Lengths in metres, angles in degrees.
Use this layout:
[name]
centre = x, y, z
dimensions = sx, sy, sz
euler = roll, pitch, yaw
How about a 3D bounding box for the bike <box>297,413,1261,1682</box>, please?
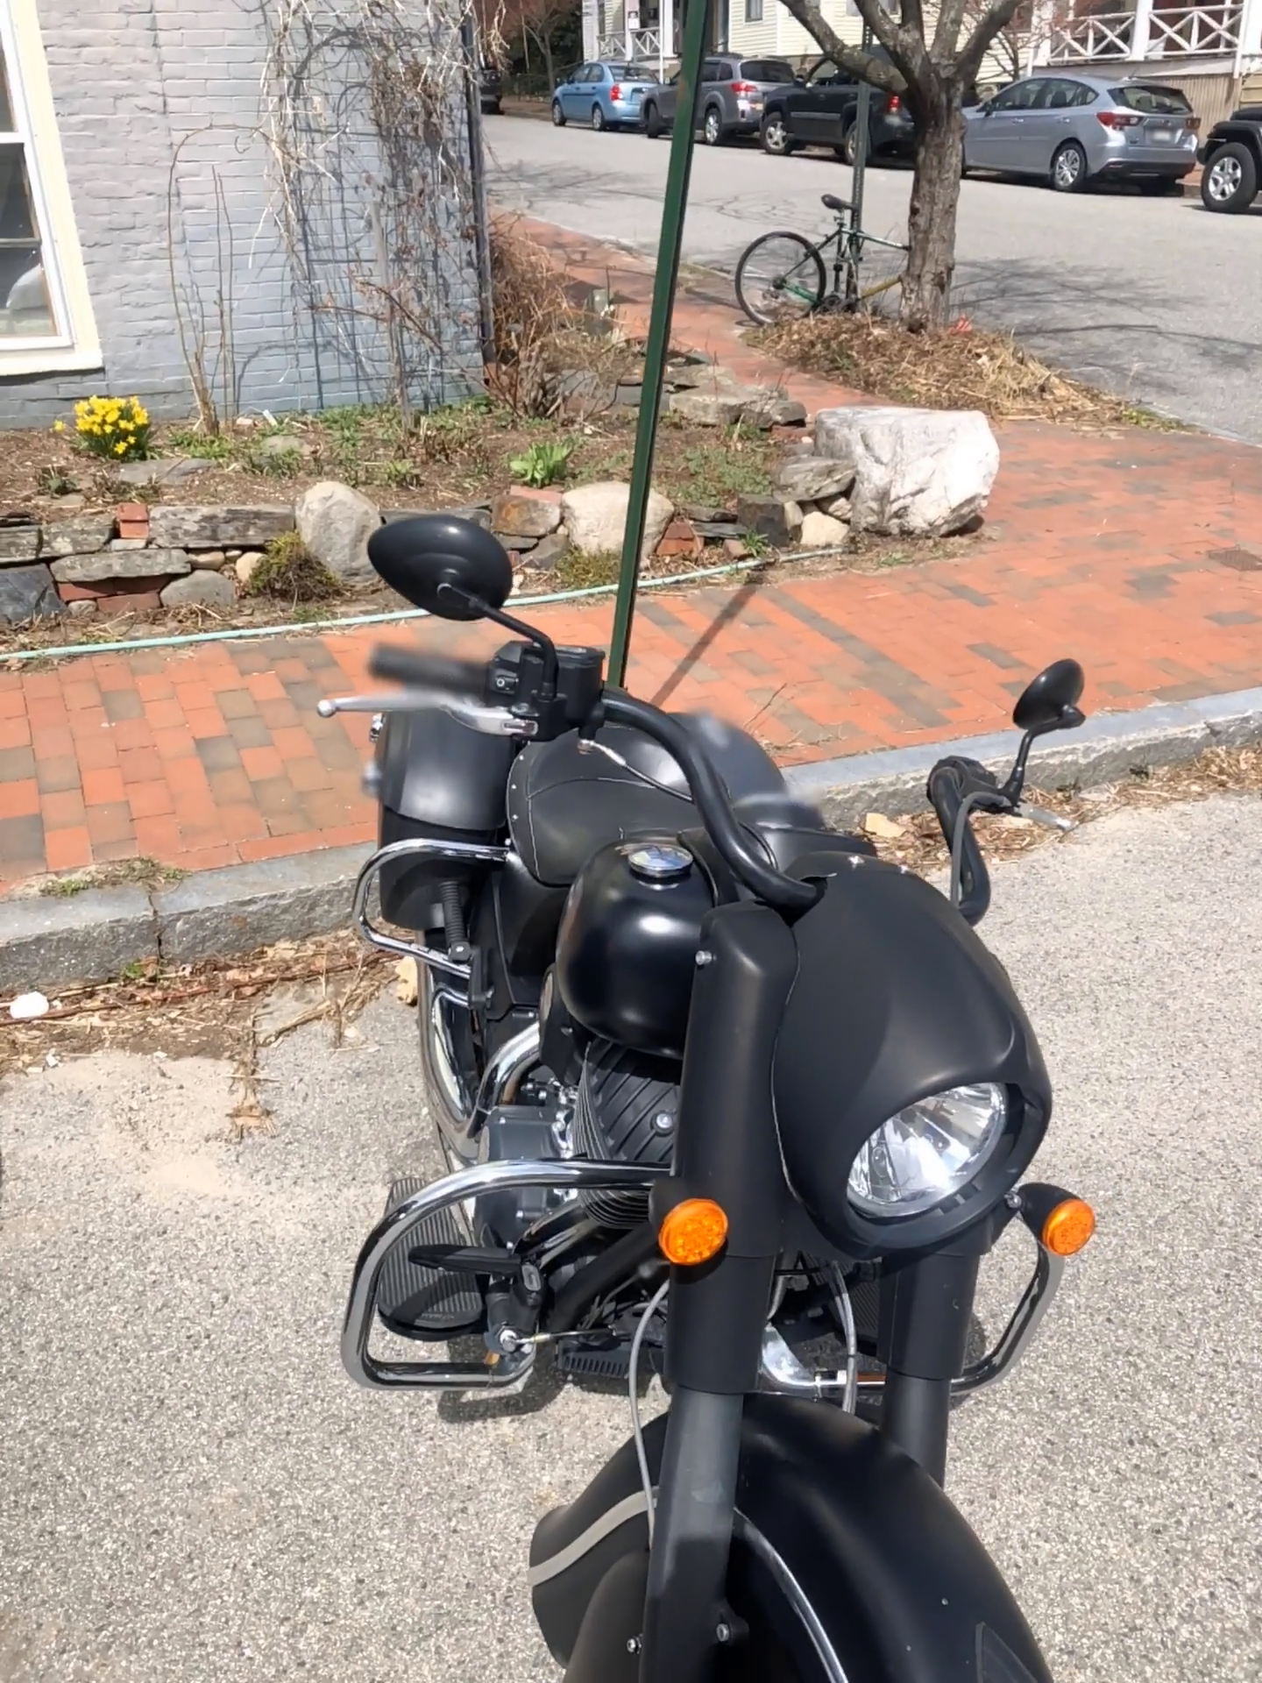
[bike]
centre = 0.043, 0.271, 1.808
dimensions = 0.780, 1.238, 2.138
euler = -7, 27, -11
